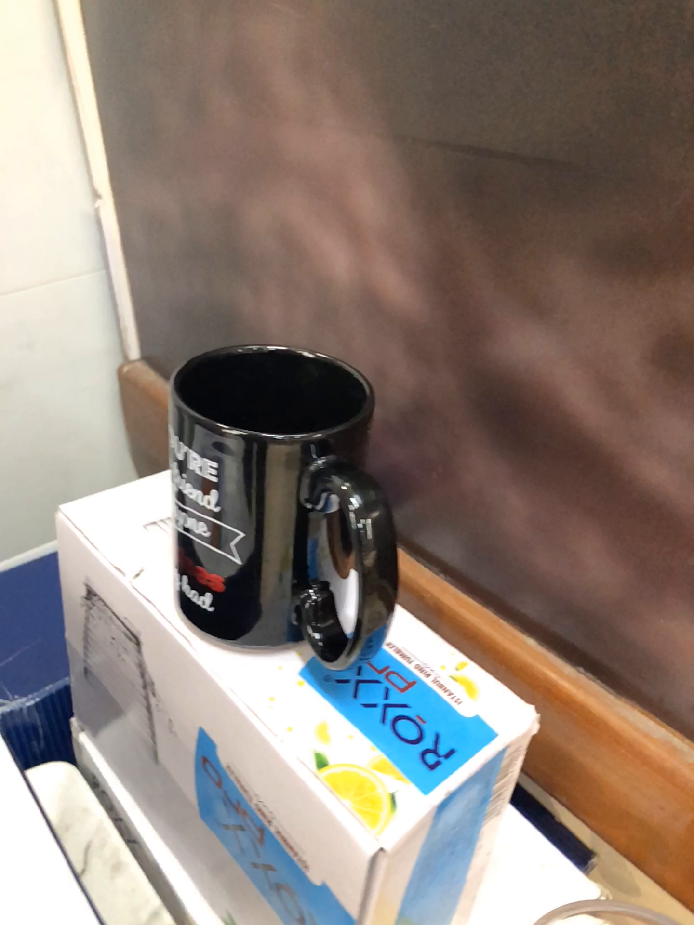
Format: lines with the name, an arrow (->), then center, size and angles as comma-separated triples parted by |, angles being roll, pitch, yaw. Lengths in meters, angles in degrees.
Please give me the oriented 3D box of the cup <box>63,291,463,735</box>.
cup -> -0.040, 0.007, 0.308 | 0.090, 0.109, 0.130 | -16, 34, -36
